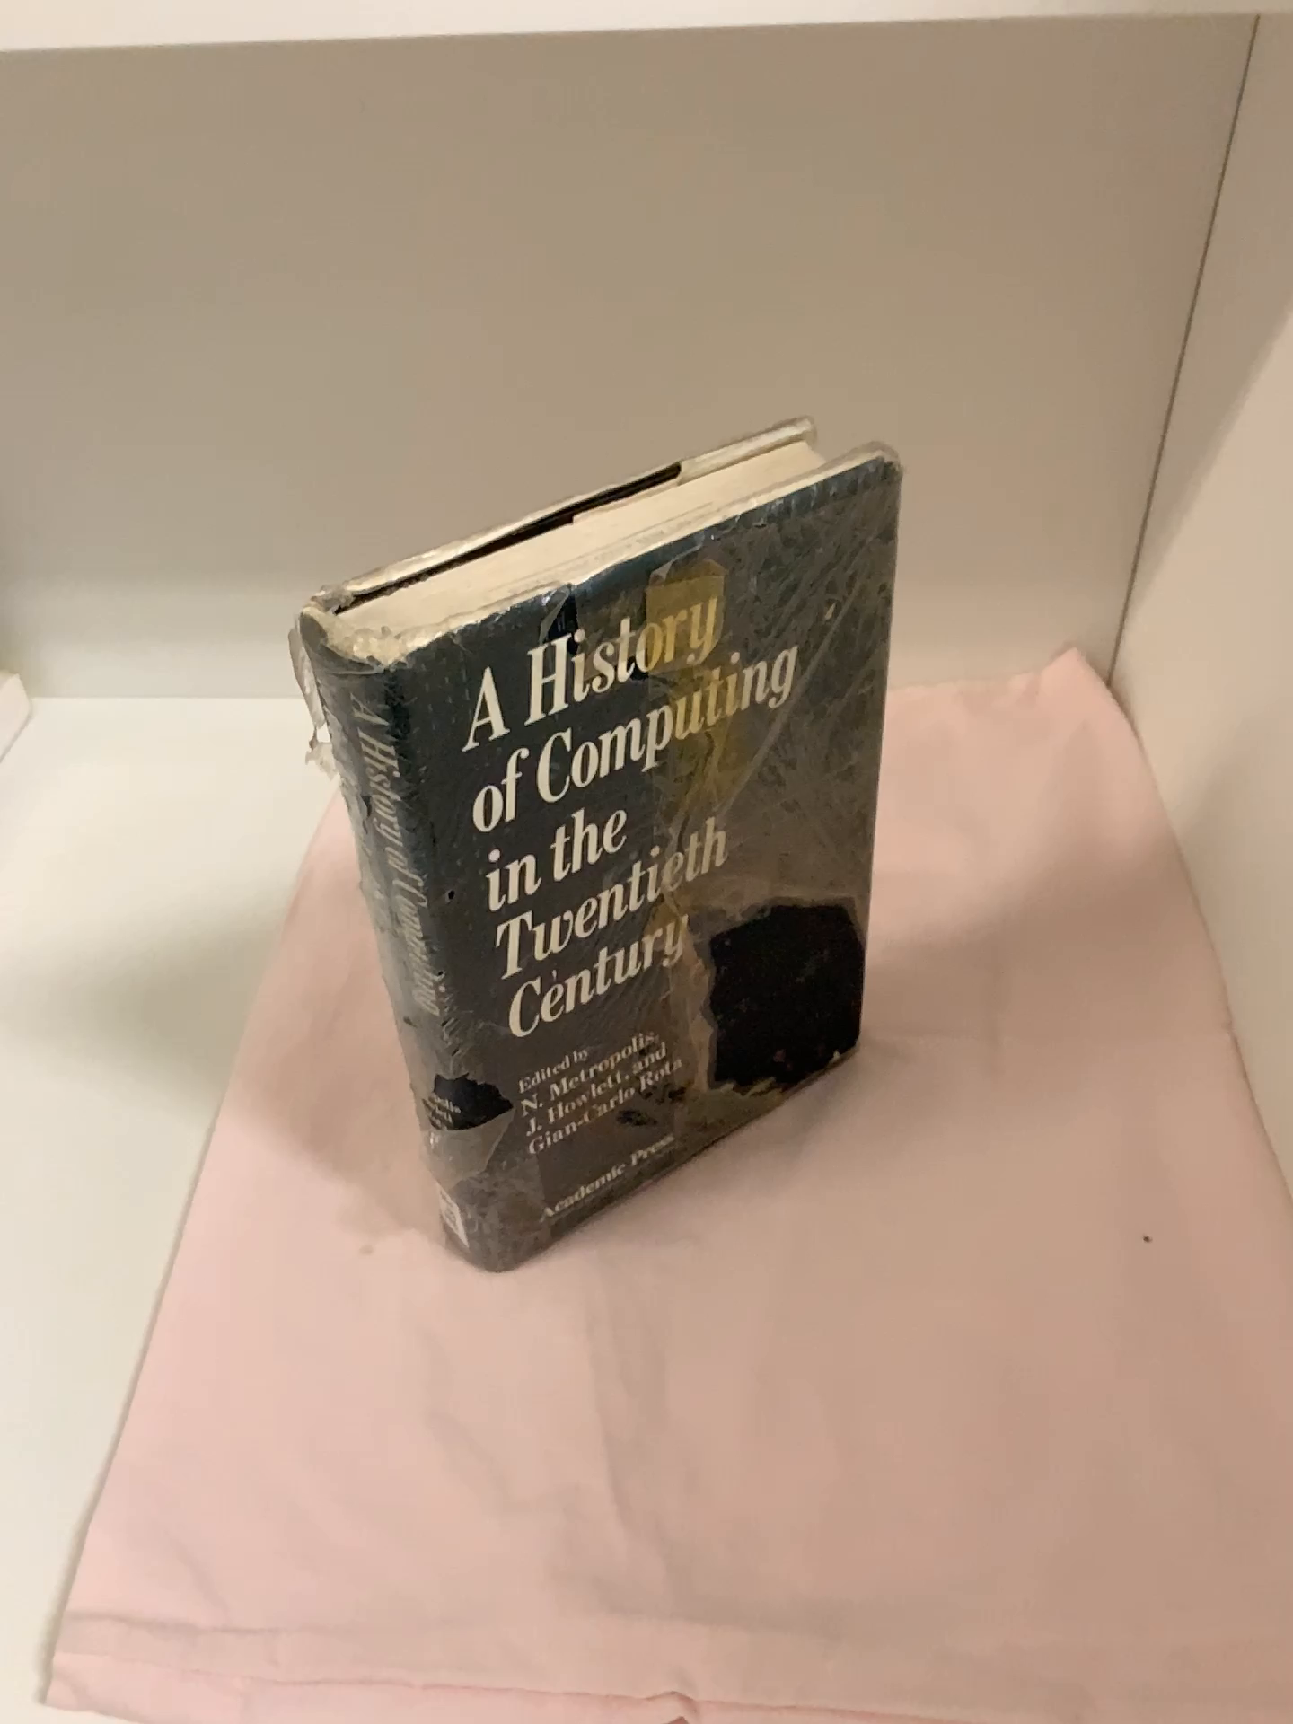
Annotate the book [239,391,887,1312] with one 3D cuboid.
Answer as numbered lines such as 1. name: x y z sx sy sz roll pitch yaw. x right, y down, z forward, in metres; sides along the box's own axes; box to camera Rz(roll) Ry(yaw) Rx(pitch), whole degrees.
1. book: -0.008 0.006 0.410 0.167 0.247 0.042 -27 44 -26
